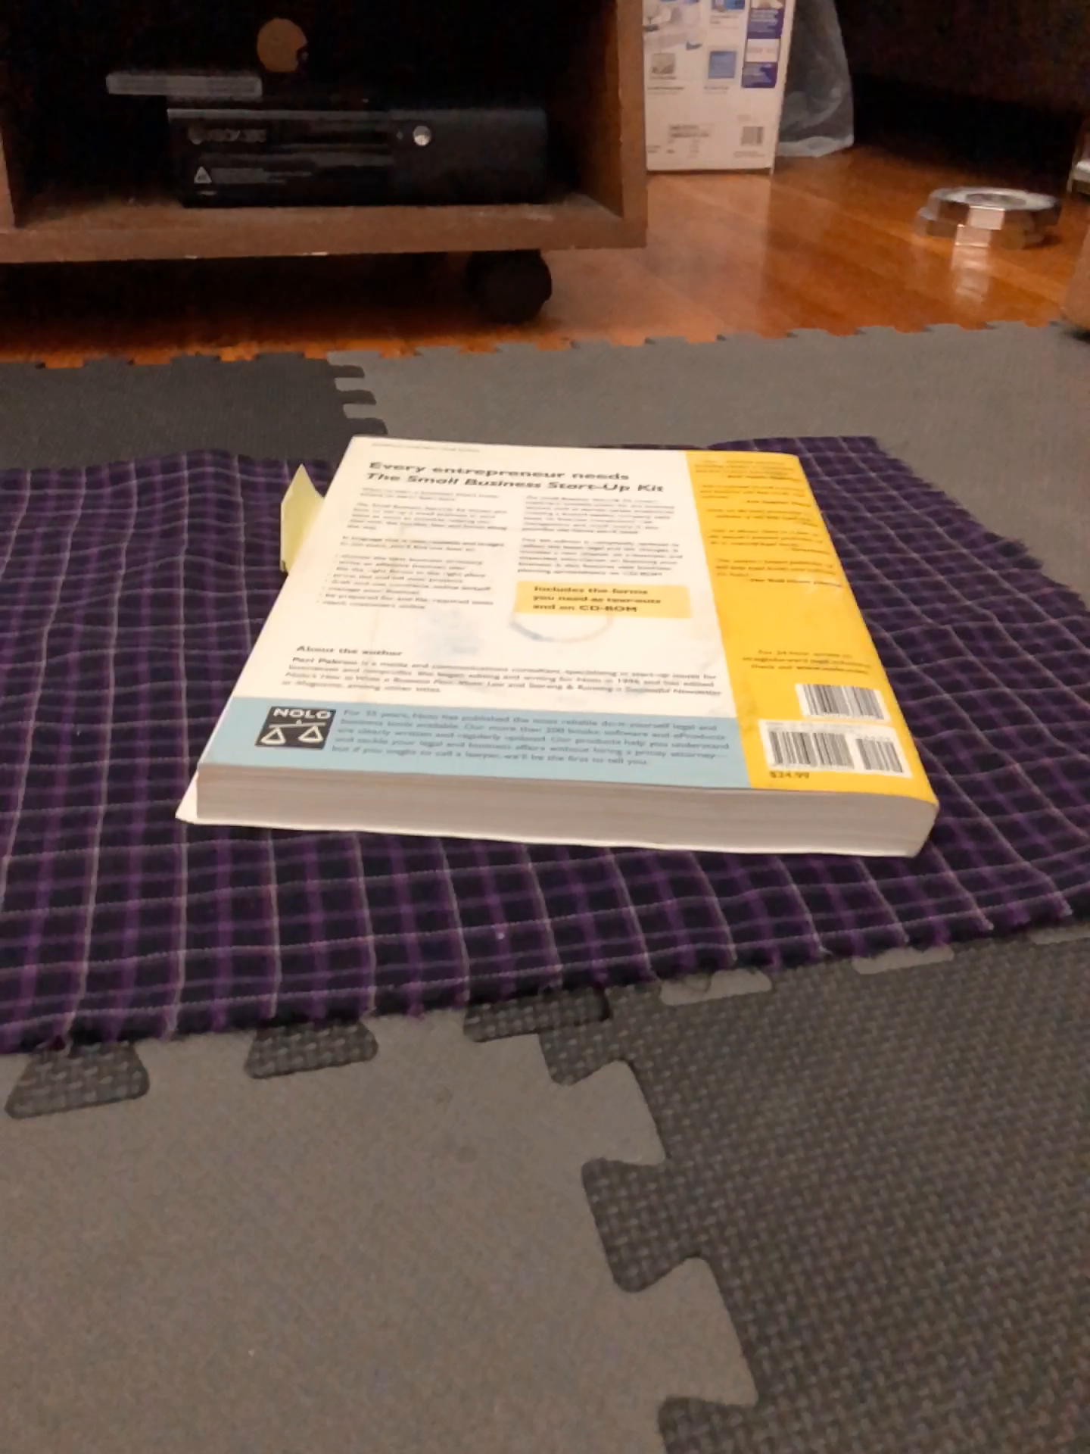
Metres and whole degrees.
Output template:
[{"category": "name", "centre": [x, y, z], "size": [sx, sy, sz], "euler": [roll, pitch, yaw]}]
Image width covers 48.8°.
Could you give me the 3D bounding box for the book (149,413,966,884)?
[{"category": "book", "centre": [0.008, -0.056, 0.477], "size": [0.230, 0.030, 0.312], "euler": [3, 32, 0]}]
